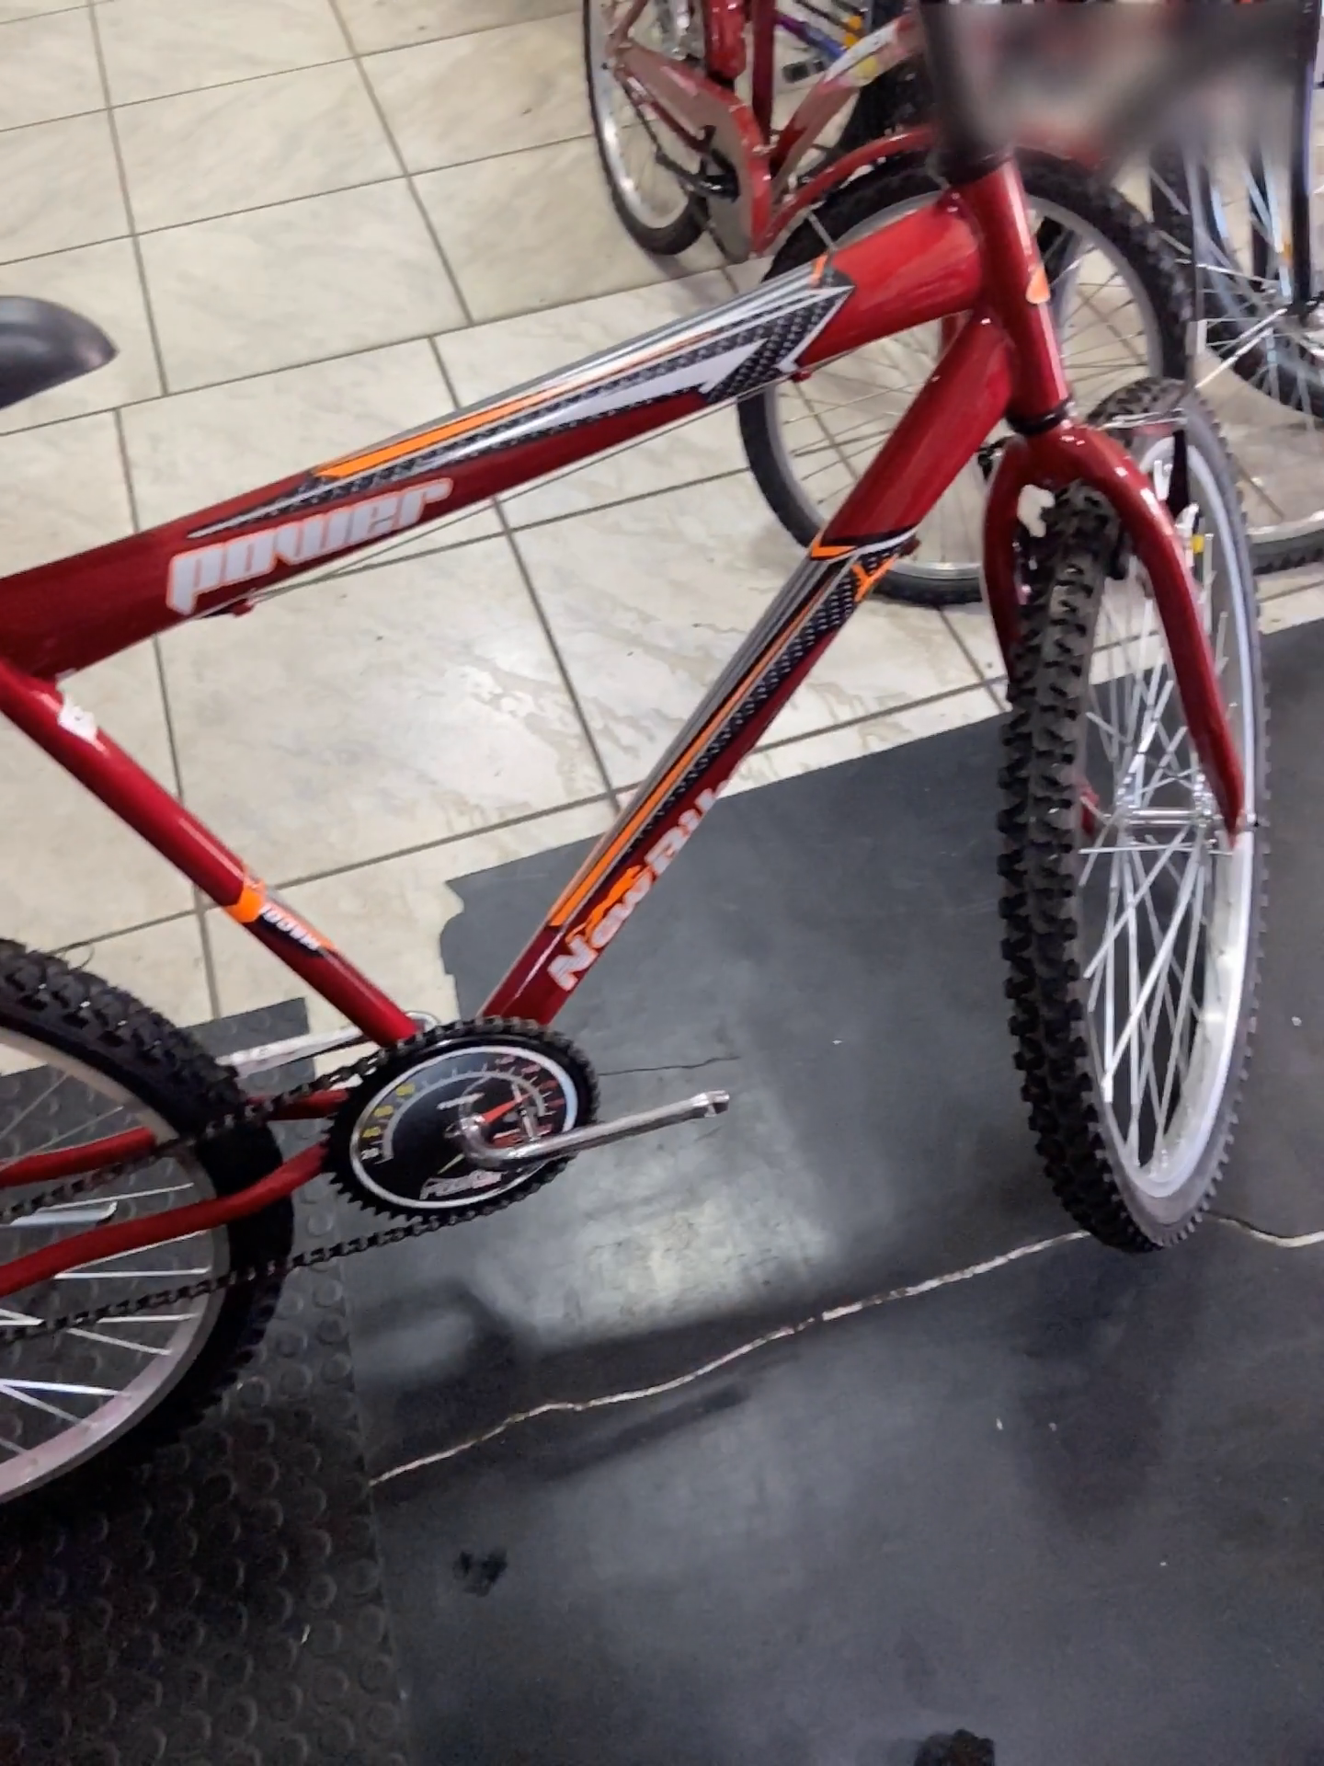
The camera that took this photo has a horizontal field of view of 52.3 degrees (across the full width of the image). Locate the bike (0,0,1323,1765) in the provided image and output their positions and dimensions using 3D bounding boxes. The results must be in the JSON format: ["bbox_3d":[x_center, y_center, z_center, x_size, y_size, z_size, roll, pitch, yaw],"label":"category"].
[{"bbox_3d":[-0.251,-0.135,0.809,1.583,1.030,0.567,-27,57,-11],"label":"bike"}]
